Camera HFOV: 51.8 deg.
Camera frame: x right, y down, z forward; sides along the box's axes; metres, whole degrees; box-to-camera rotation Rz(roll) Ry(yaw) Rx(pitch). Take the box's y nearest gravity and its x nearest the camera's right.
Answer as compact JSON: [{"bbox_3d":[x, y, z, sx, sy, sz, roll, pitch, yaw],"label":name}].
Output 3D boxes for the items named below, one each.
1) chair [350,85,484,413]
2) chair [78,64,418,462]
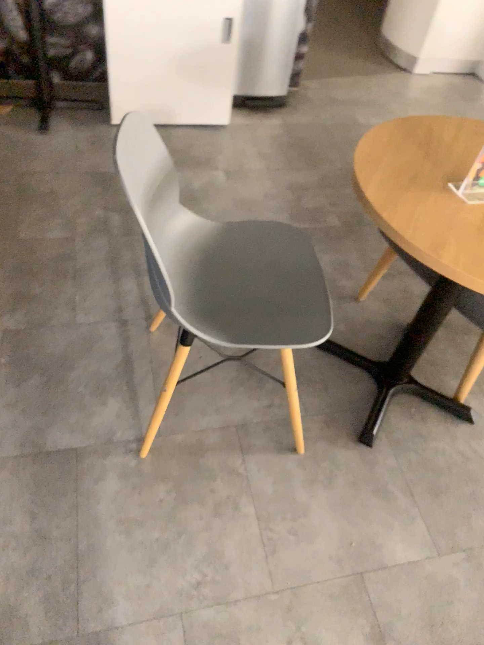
[{"bbox_3d":[0.810,-0.225,1.573,0.511,0.753,0.559,-17,53,-23],"label":"chair"},{"bbox_3d":[-0.045,-0.083,1.217,0.520,0.803,0.509,2,48,-8],"label":"chair"}]
